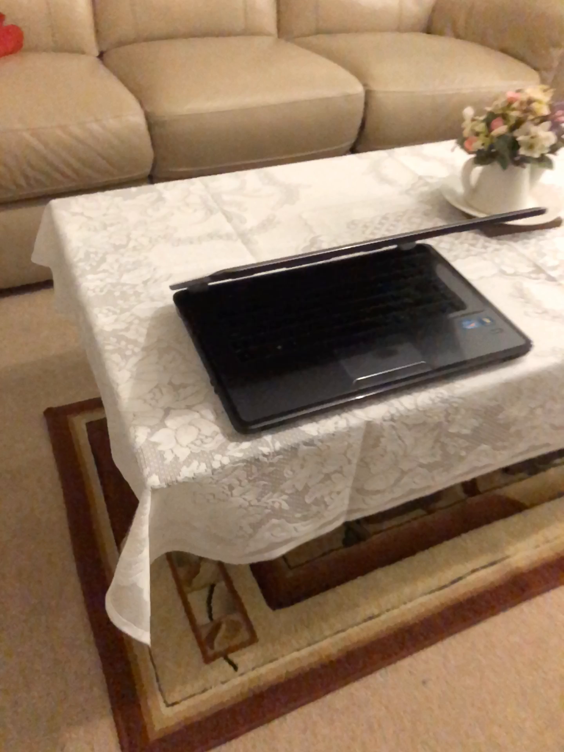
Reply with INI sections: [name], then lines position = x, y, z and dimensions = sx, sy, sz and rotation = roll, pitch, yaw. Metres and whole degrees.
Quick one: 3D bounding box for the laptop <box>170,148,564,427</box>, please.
[laptop]
position = 0.086, -0.121, 0.710
dimensions = 0.360, 0.139, 0.239
rotation = -15, 46, -18
